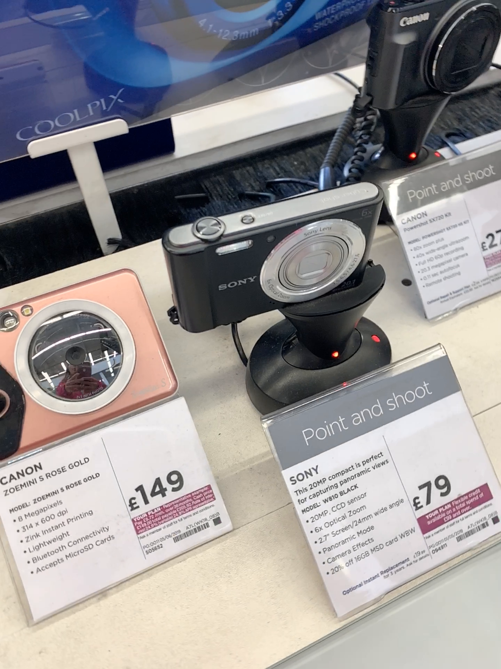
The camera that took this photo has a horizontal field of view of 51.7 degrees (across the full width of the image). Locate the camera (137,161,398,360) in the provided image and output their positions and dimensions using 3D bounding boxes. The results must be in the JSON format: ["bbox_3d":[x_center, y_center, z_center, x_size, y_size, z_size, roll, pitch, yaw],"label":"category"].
[{"bbox_3d":[0.008,-0.032,0.230,0.100,0.060,0.030,-17,54,-11],"label":"camera"}]
